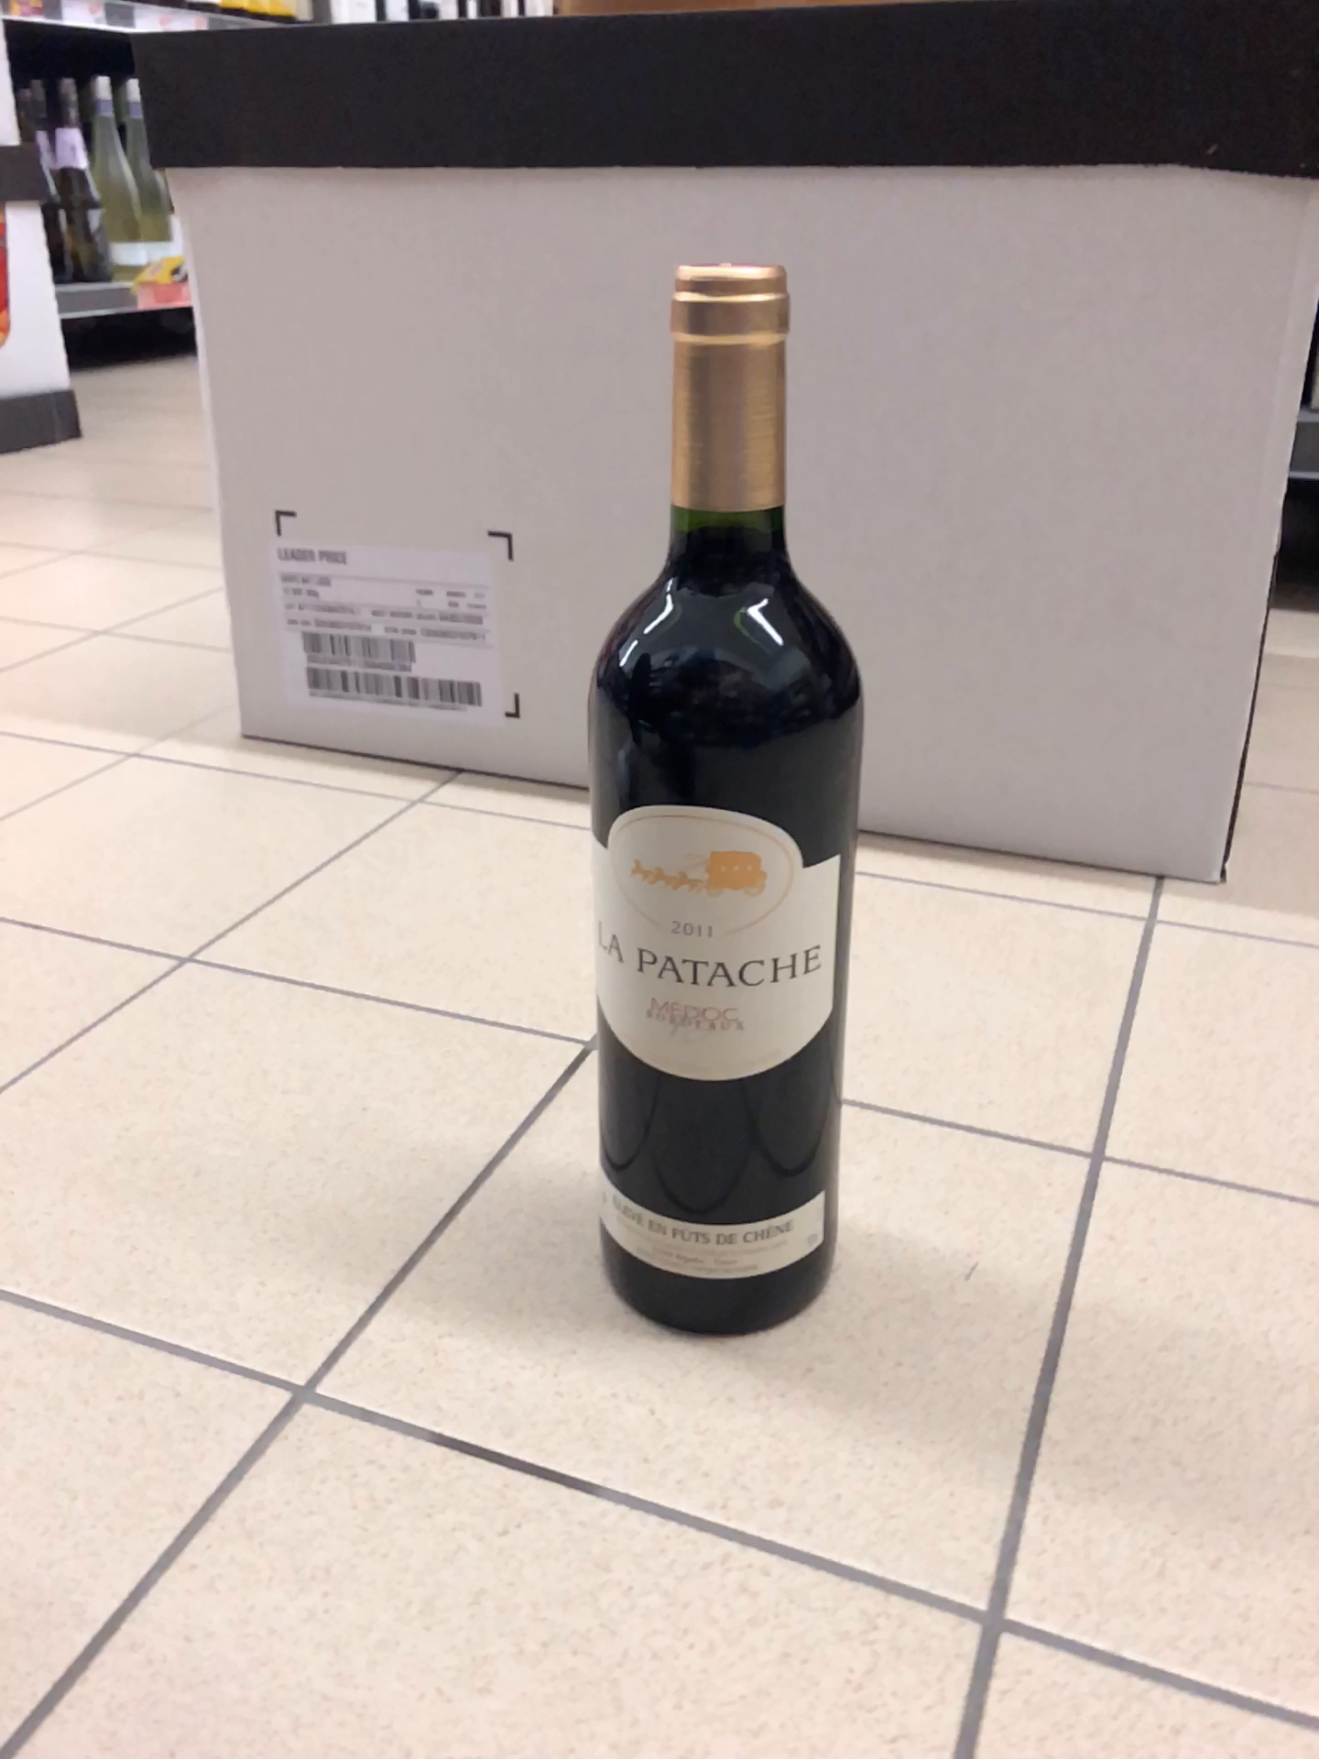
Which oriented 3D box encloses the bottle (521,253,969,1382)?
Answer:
[{"bbox_3d":[0.024,-0.011,0.393,0.090,0.288,0.081,5,25,12],"label":"bottle"}]
